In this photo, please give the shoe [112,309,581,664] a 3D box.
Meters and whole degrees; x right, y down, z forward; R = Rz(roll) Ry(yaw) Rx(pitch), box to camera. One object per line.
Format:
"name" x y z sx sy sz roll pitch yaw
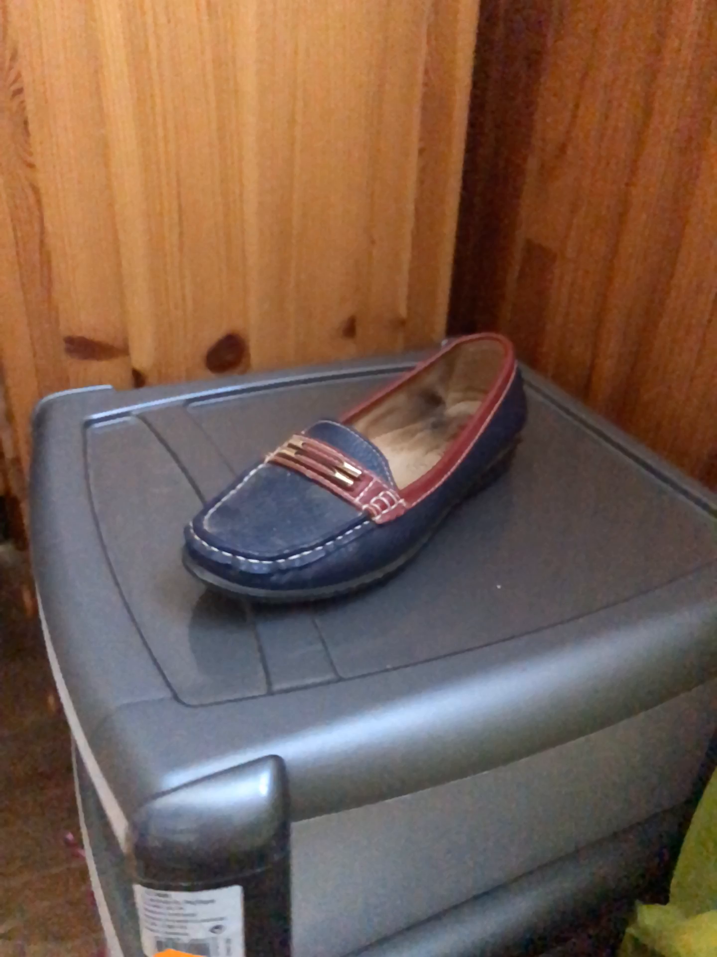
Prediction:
"shoe" 0.010 -0.017 0.436 0.100 0.070 0.262 26 38 32
